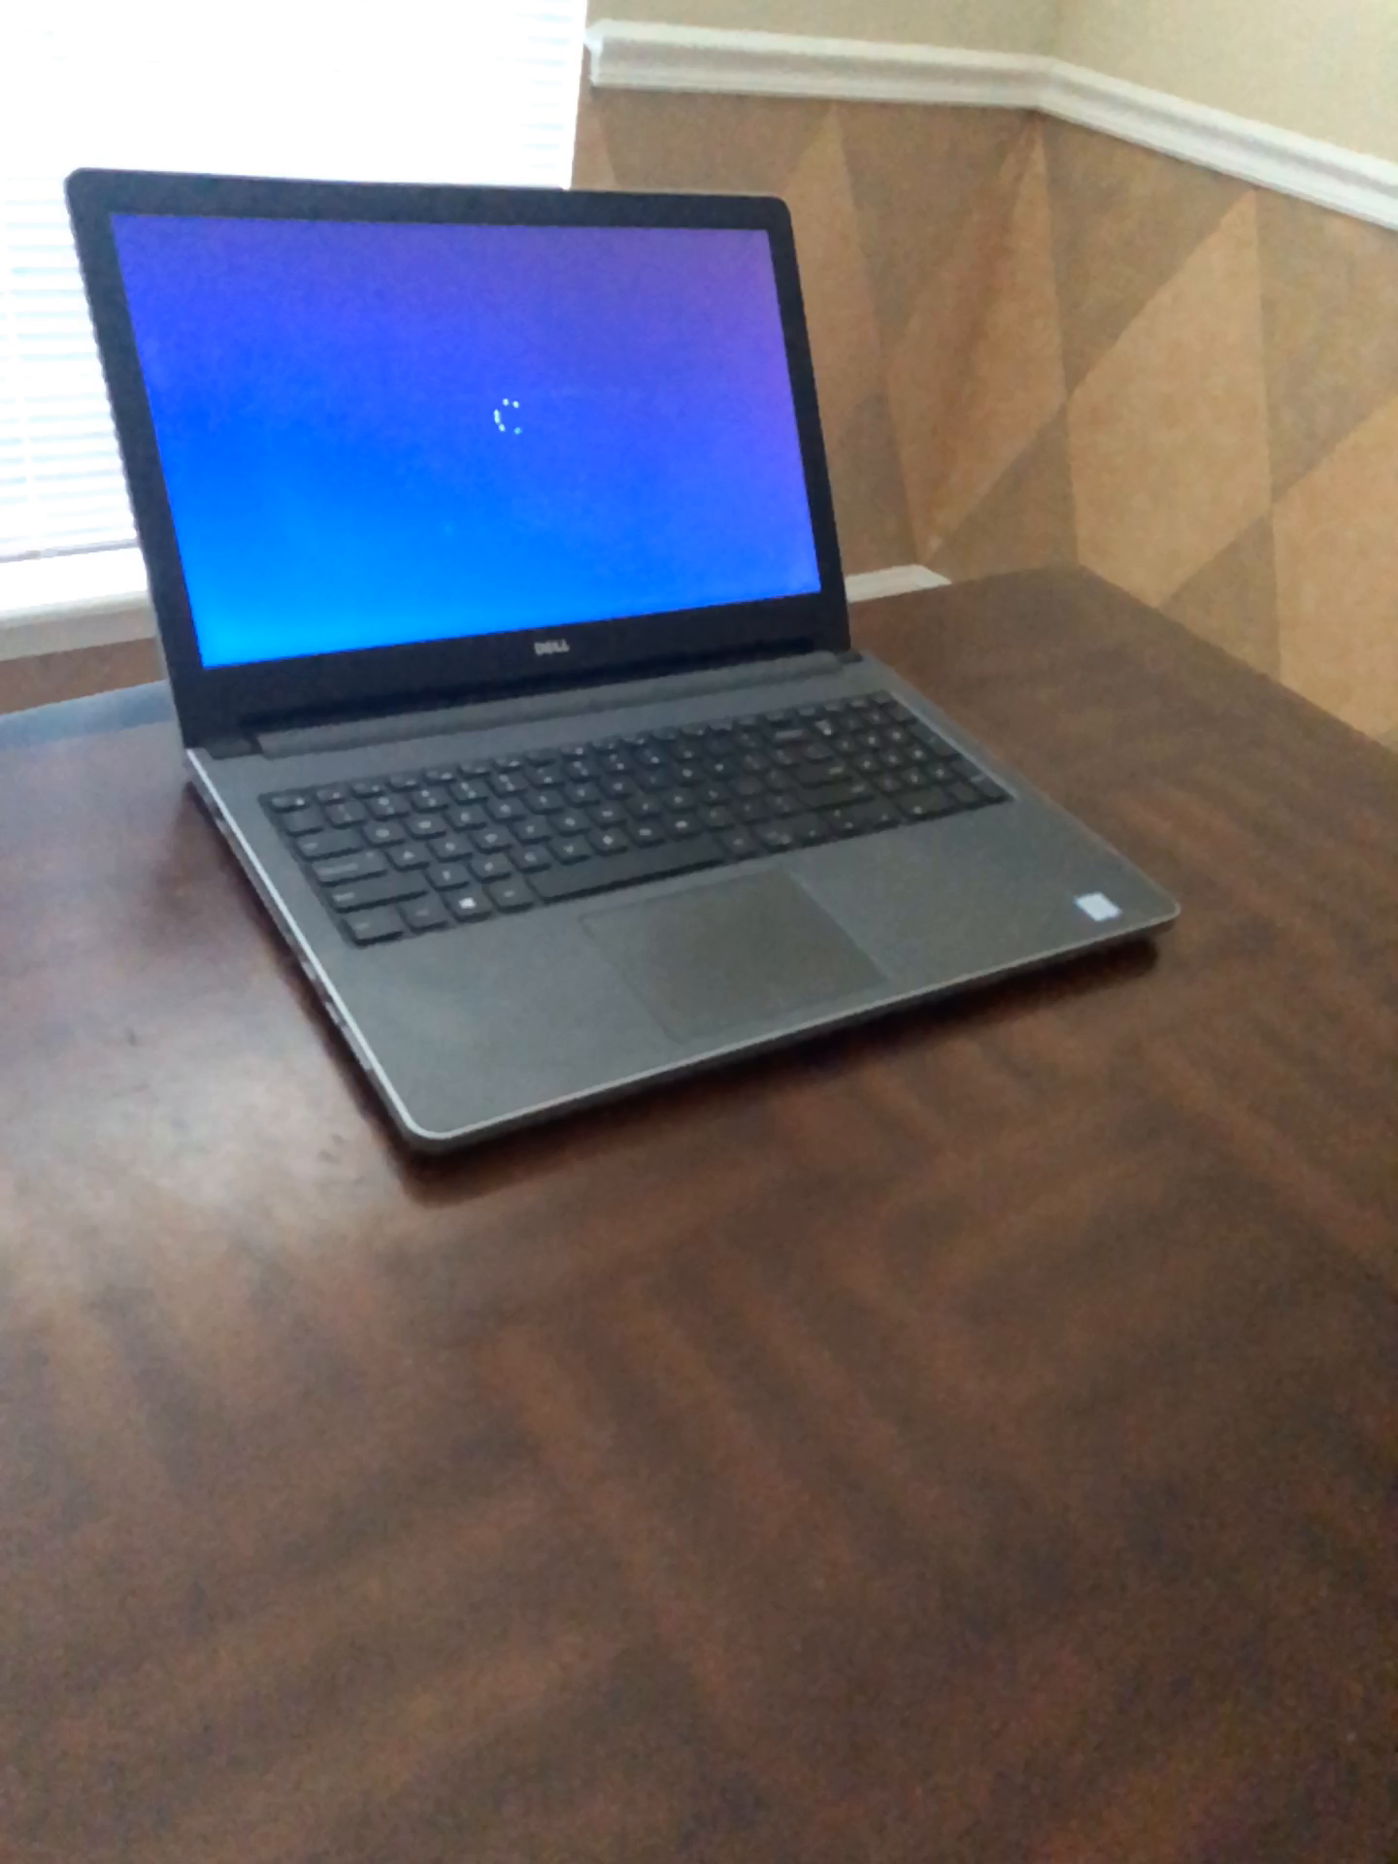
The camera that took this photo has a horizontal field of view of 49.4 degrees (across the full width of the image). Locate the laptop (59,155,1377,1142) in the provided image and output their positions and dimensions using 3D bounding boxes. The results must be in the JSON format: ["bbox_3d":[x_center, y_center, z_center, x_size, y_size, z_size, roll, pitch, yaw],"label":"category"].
[{"bbox_3d":[-0.020,-0.163,0.653,0.367,0.198,0.393,-14,44,-31],"label":"laptop"}]
